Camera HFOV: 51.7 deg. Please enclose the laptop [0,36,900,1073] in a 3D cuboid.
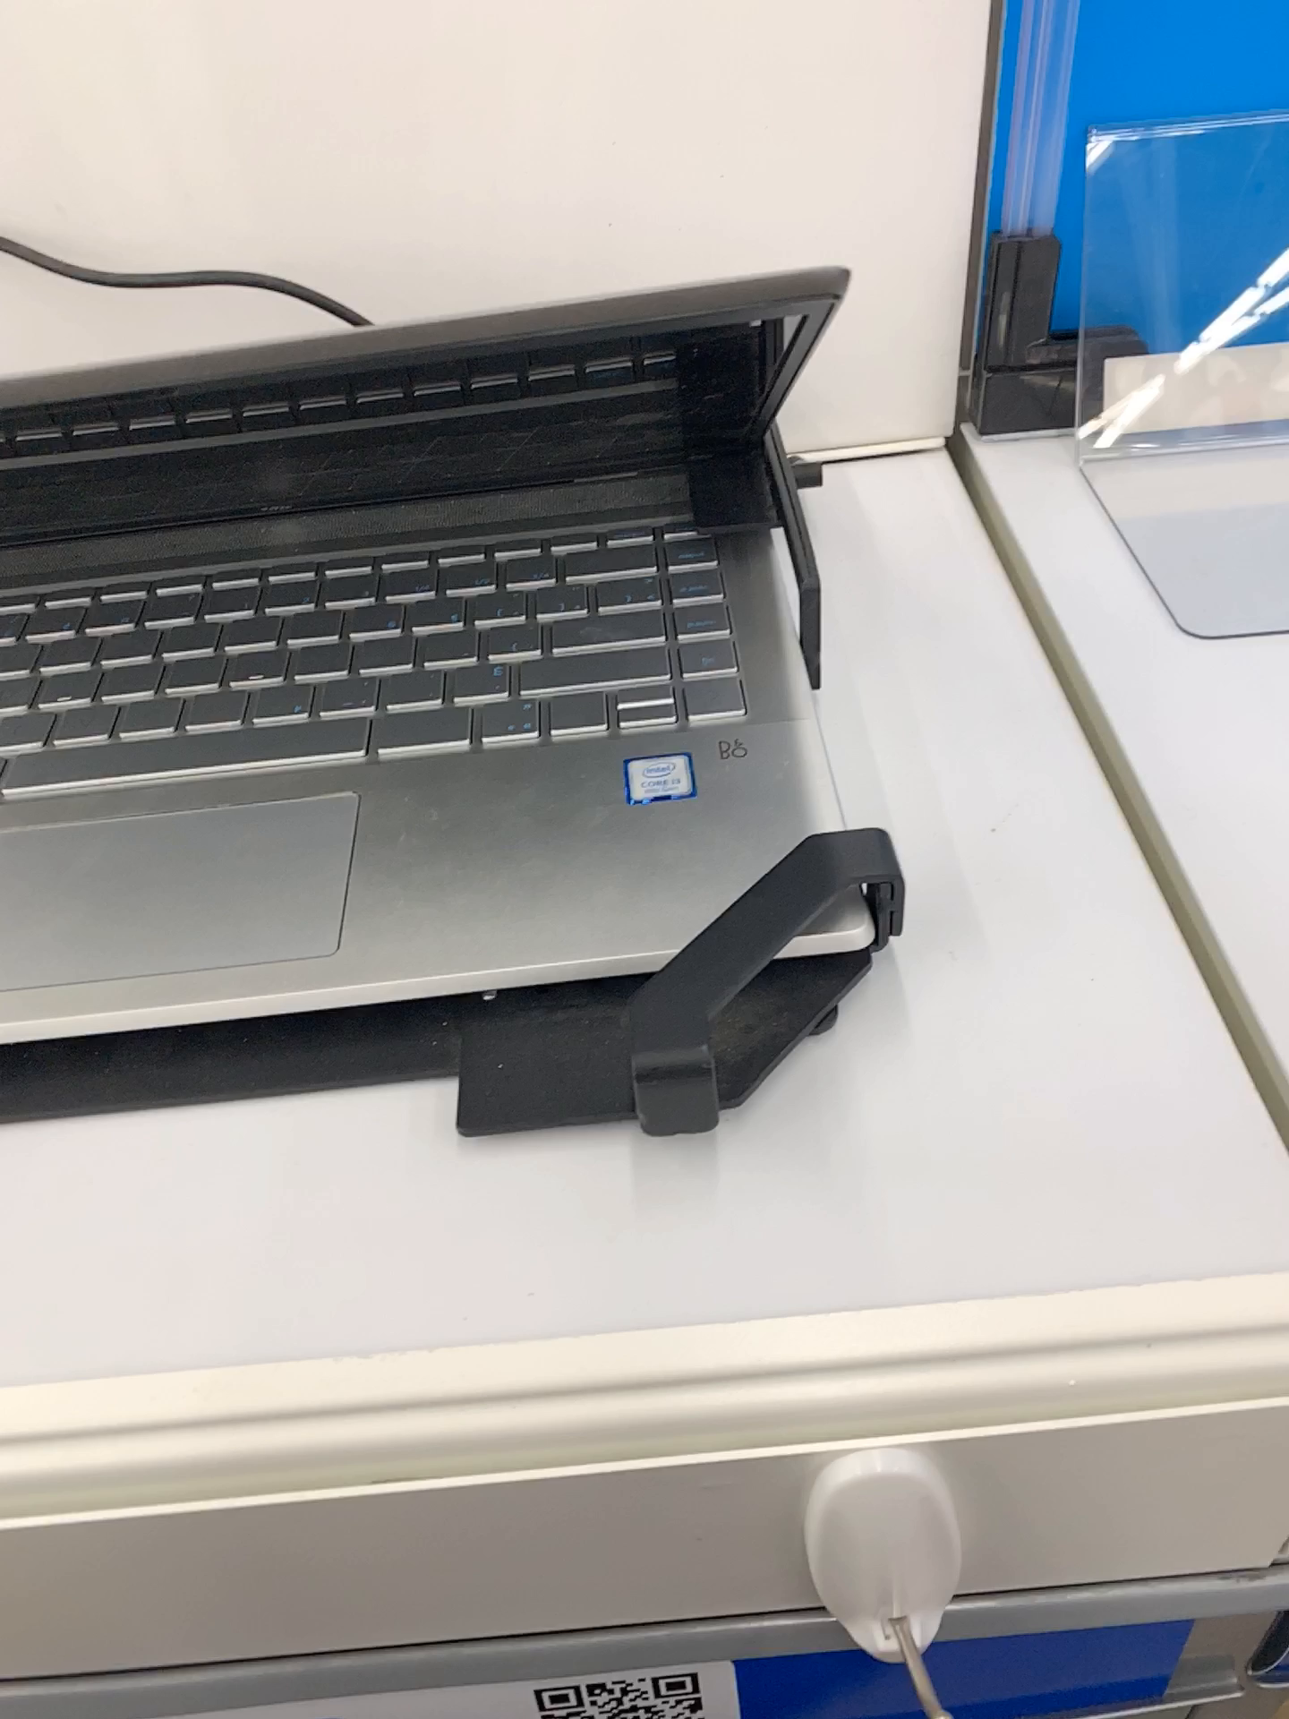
[{"bbox_3d":[-0.108,-0.077,0.301,0.283,0.111,0.194,-6,44,3],"label":"laptop"}]
